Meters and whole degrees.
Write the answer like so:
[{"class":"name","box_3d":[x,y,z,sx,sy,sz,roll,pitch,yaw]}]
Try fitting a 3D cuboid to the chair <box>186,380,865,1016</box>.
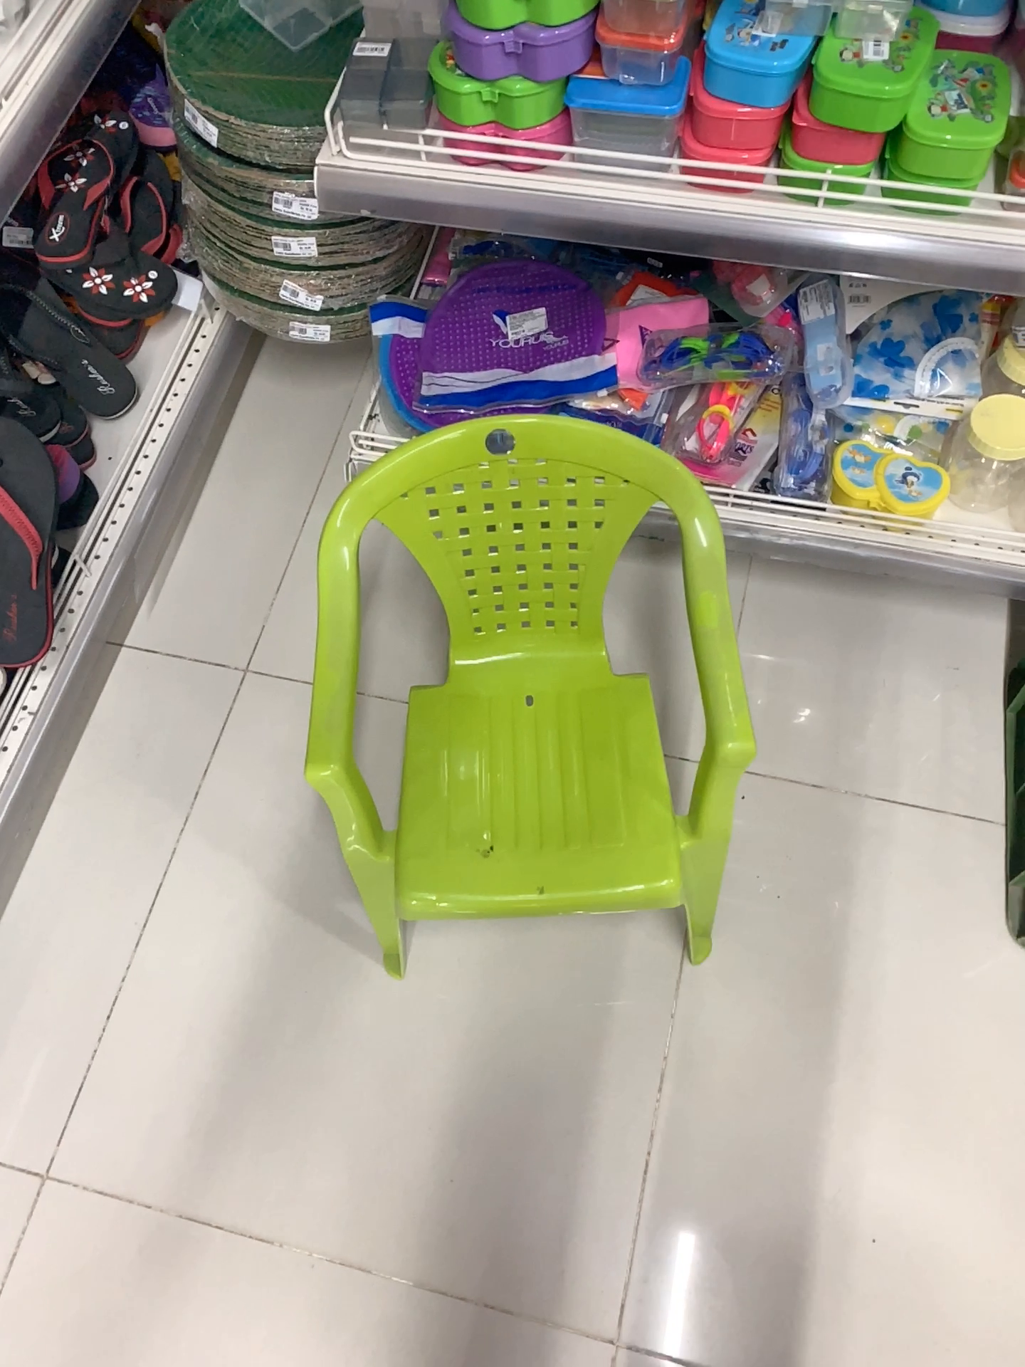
[{"class":"chair","box_3d":[0.017,0.055,0.889,0.390,0.469,0.360,-2,64,3]}]
